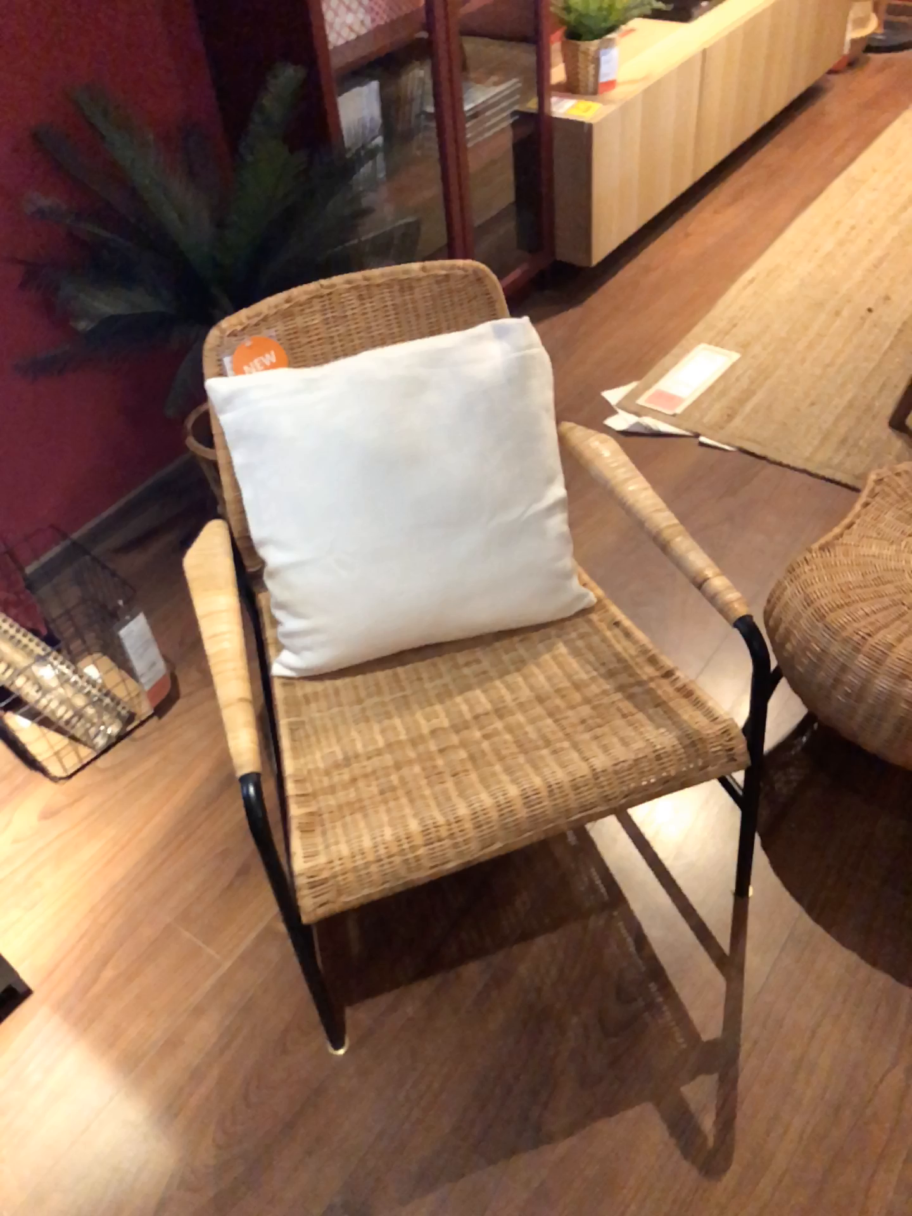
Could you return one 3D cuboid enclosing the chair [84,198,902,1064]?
[{"bbox_3d":[0.003,0.009,1.314,0.670,0.705,0.664,-18,45,-11],"label":"chair"}]
